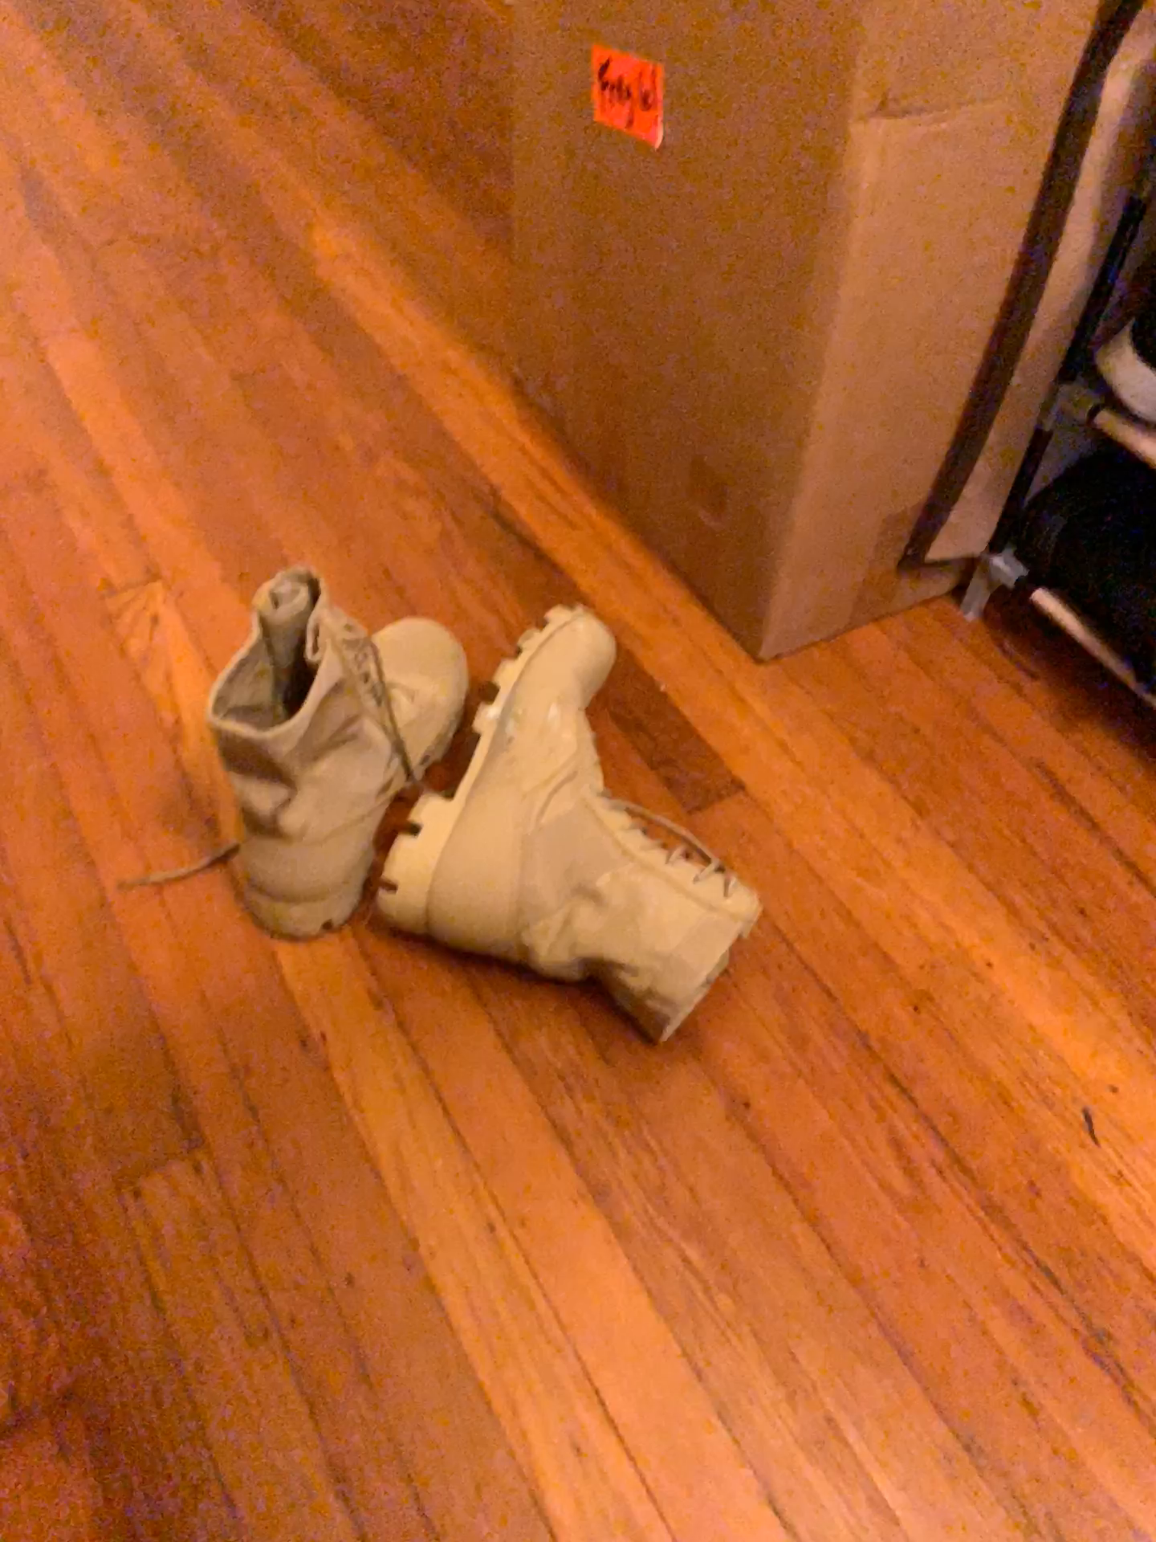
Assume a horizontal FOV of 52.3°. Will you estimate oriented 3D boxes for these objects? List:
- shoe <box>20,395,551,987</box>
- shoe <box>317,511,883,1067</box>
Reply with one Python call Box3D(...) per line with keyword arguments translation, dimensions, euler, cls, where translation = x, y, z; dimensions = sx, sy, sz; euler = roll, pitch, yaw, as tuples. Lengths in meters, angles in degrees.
Box3D(translation=(-0.165, -0.060, 0.787), dimensions=(0.190, 0.199, 0.301), euler=(18, 53, 11), cls="shoe")
Box3D(translation=(0.030, -0.008, 0.779), dimensions=(0.250, 0.119, 0.311), euler=(16, 53, 19), cls="shoe")
